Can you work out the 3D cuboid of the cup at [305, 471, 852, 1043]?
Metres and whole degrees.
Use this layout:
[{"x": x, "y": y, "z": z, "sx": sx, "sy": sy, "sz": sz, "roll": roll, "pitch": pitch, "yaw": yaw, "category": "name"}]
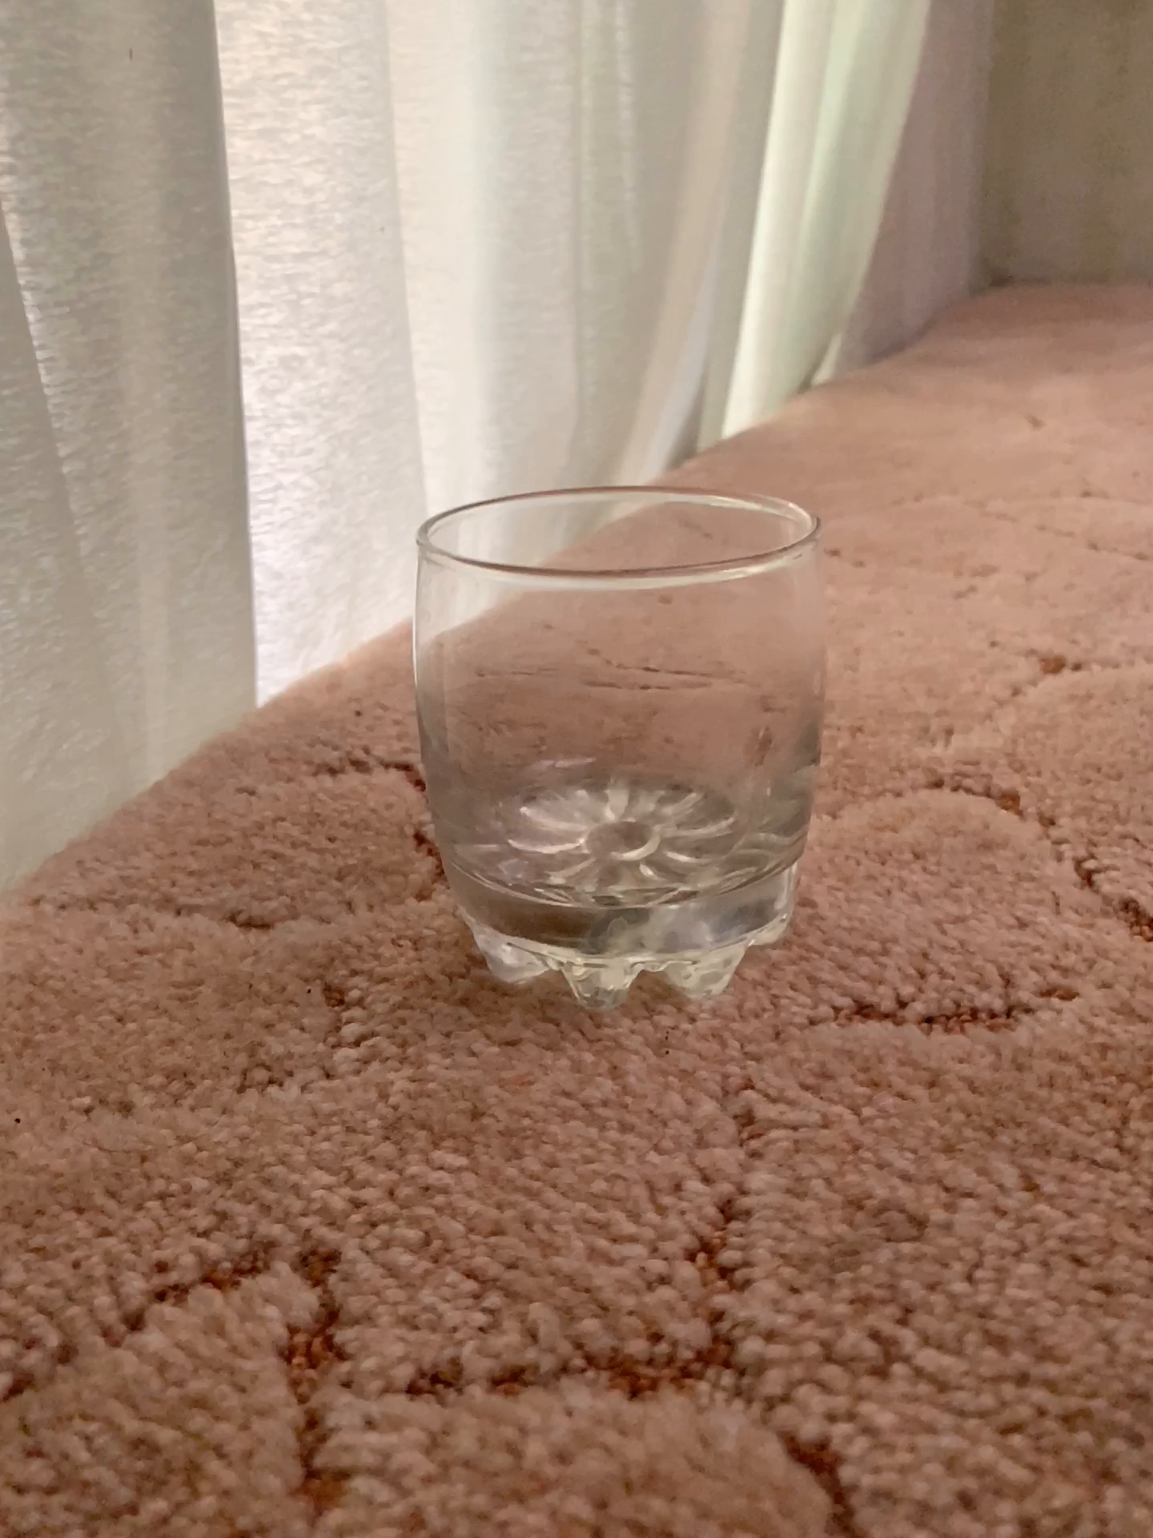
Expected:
[{"x": 0.007, "y": -0.006, "z": 0.250, "sx": 0.090, "sy": 0.089, "sz": 0.081, "roll": -1, "pitch": 26, "yaw": 9, "category": "cup"}]
